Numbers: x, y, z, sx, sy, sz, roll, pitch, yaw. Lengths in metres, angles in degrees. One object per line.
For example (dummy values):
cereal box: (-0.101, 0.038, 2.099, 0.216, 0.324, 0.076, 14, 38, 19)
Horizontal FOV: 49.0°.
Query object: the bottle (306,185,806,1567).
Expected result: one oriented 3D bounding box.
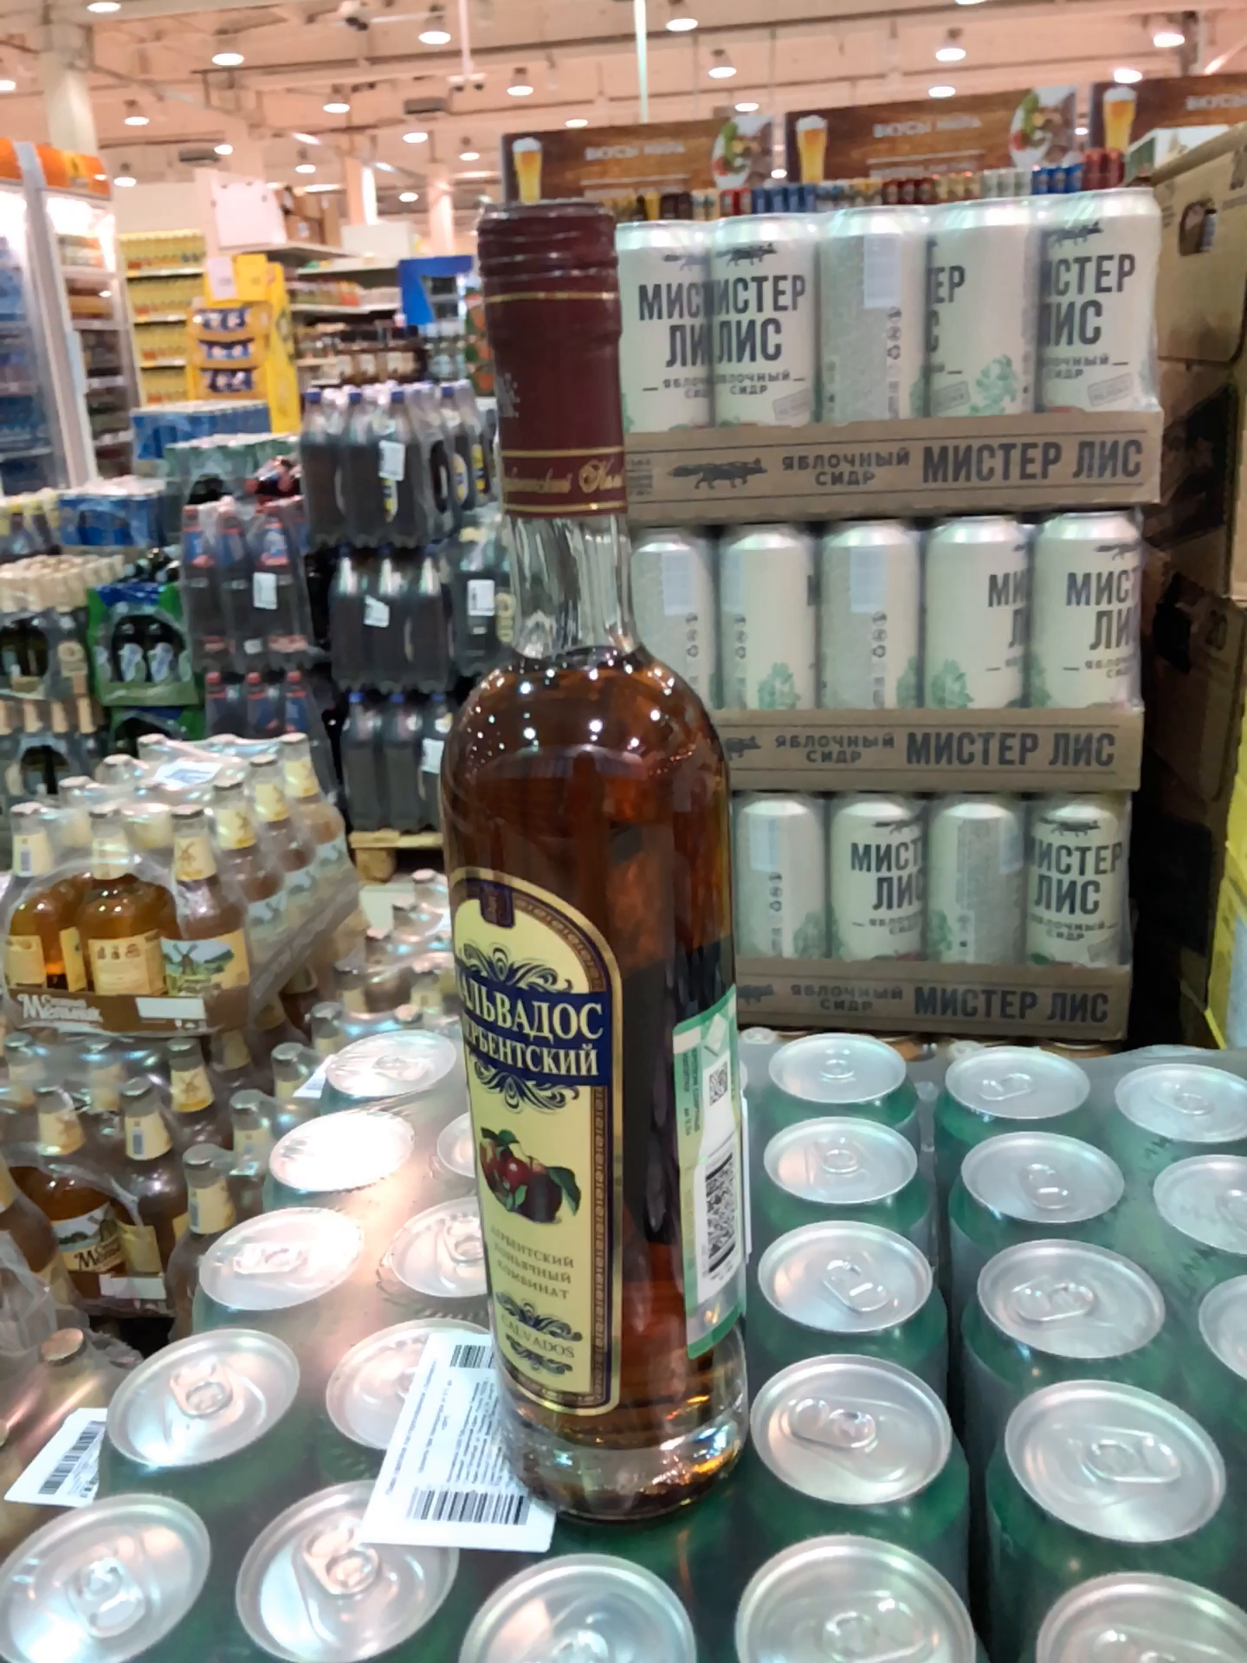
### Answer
bottle: (-0.006, 0.017, 0.323, 0.070, 0.298, 0.070, -3, 19, 1)
